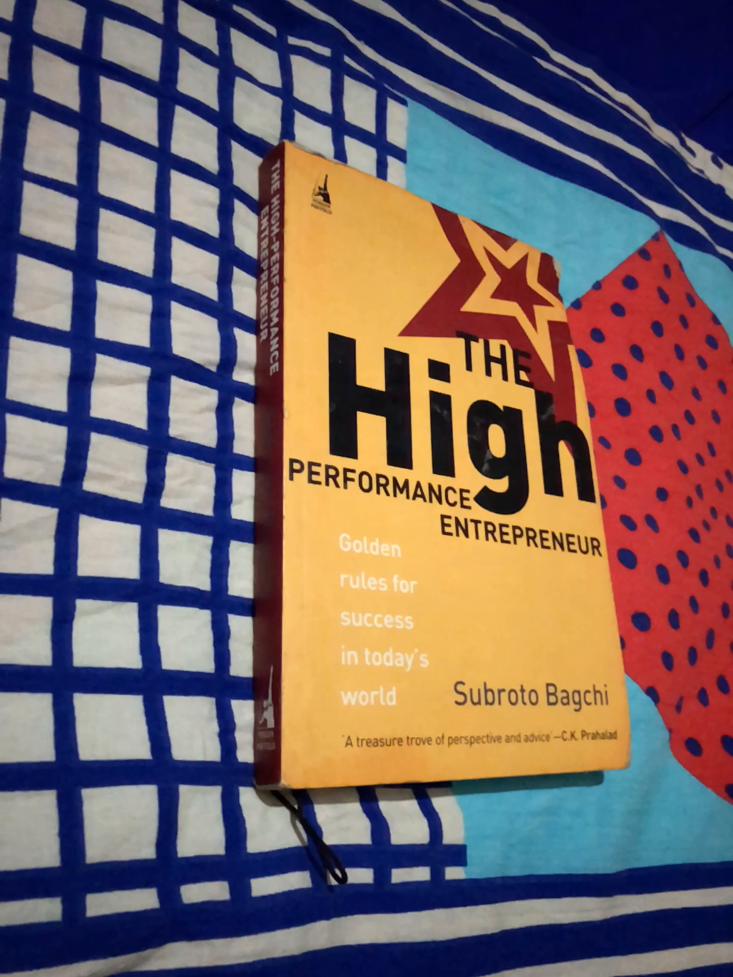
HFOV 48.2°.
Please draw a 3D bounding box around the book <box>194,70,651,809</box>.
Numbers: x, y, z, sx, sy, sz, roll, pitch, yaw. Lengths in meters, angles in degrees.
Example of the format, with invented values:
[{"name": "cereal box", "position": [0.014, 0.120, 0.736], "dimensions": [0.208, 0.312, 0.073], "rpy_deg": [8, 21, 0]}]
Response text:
[{"name": "book", "position": [0.019, -0.015, 0.285], "dimensions": [0.141, 0.040, 0.230], "rpy_deg": [12, 65, -32]}]
